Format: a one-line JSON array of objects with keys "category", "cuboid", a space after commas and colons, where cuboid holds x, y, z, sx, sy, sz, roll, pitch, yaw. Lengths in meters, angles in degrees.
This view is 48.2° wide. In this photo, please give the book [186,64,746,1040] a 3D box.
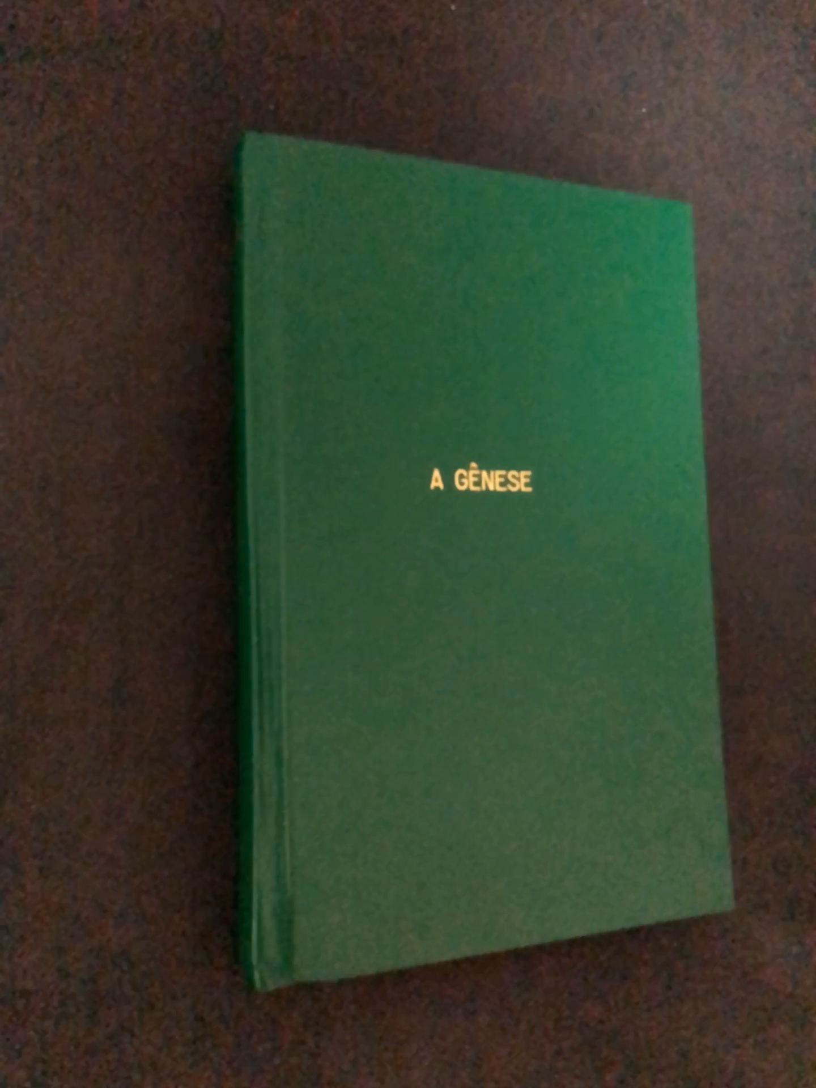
[{"category": "book", "cuboid": [0.016, -0.003, 0.268, 0.150, 0.040, 0.240, 0, 84, -21]}]
